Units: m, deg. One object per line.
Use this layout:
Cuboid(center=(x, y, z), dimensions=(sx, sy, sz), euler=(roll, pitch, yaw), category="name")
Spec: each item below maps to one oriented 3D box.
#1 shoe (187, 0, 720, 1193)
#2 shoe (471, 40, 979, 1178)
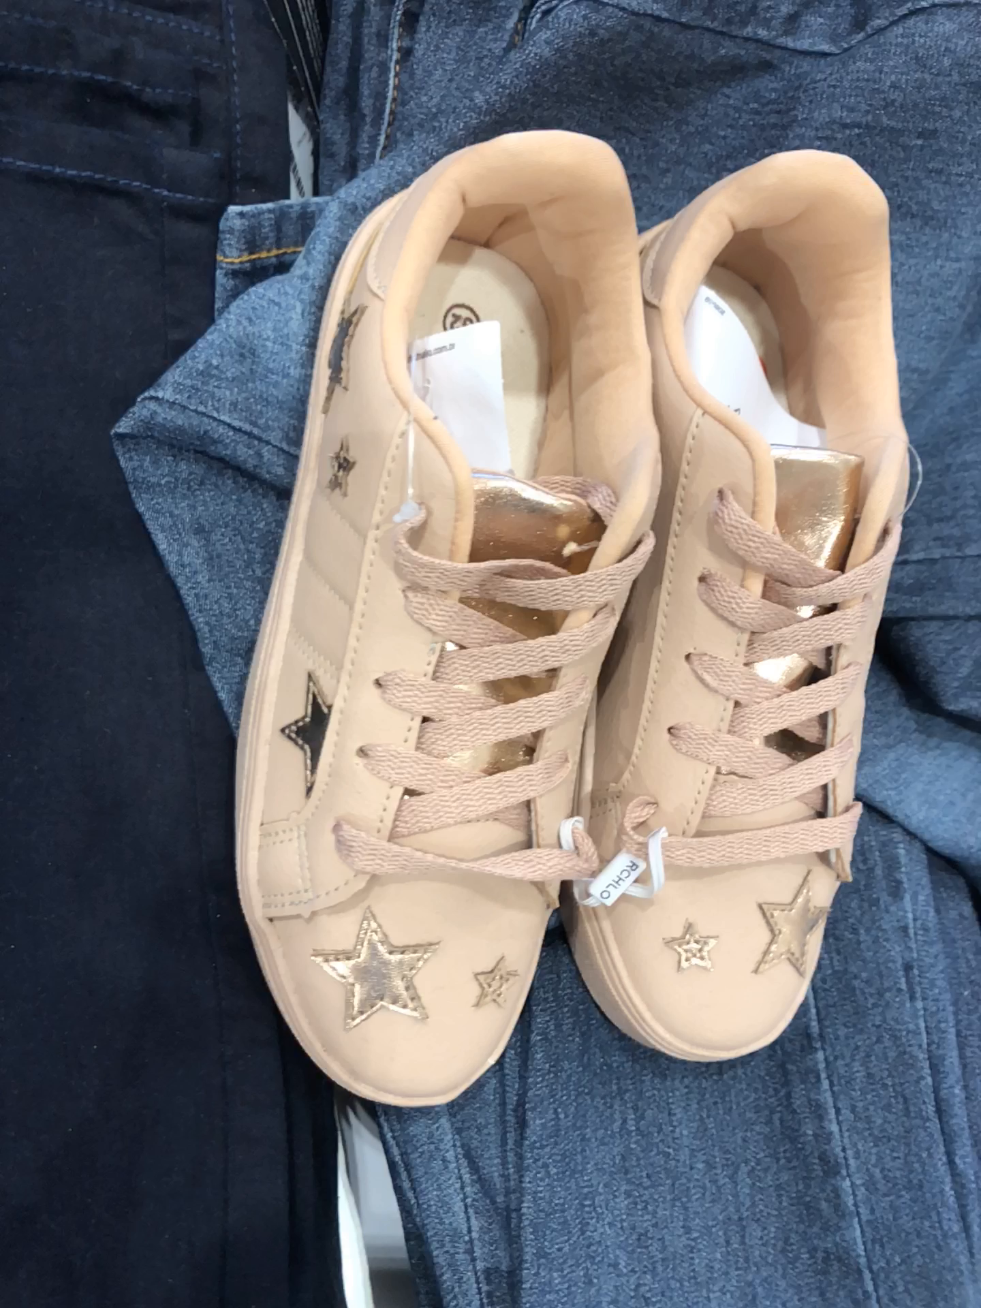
Cuboid(center=(-0.013, -0.014, 0.272), dimensions=(0.090, 0.090, 0.250), euler=(6, 88, -12), category="shoe")
Cuboid(center=(0.051, -0.012, 0.291), dimensions=(0.090, 0.090, 0.250), euler=(0, 83, -13), category="shoe")
